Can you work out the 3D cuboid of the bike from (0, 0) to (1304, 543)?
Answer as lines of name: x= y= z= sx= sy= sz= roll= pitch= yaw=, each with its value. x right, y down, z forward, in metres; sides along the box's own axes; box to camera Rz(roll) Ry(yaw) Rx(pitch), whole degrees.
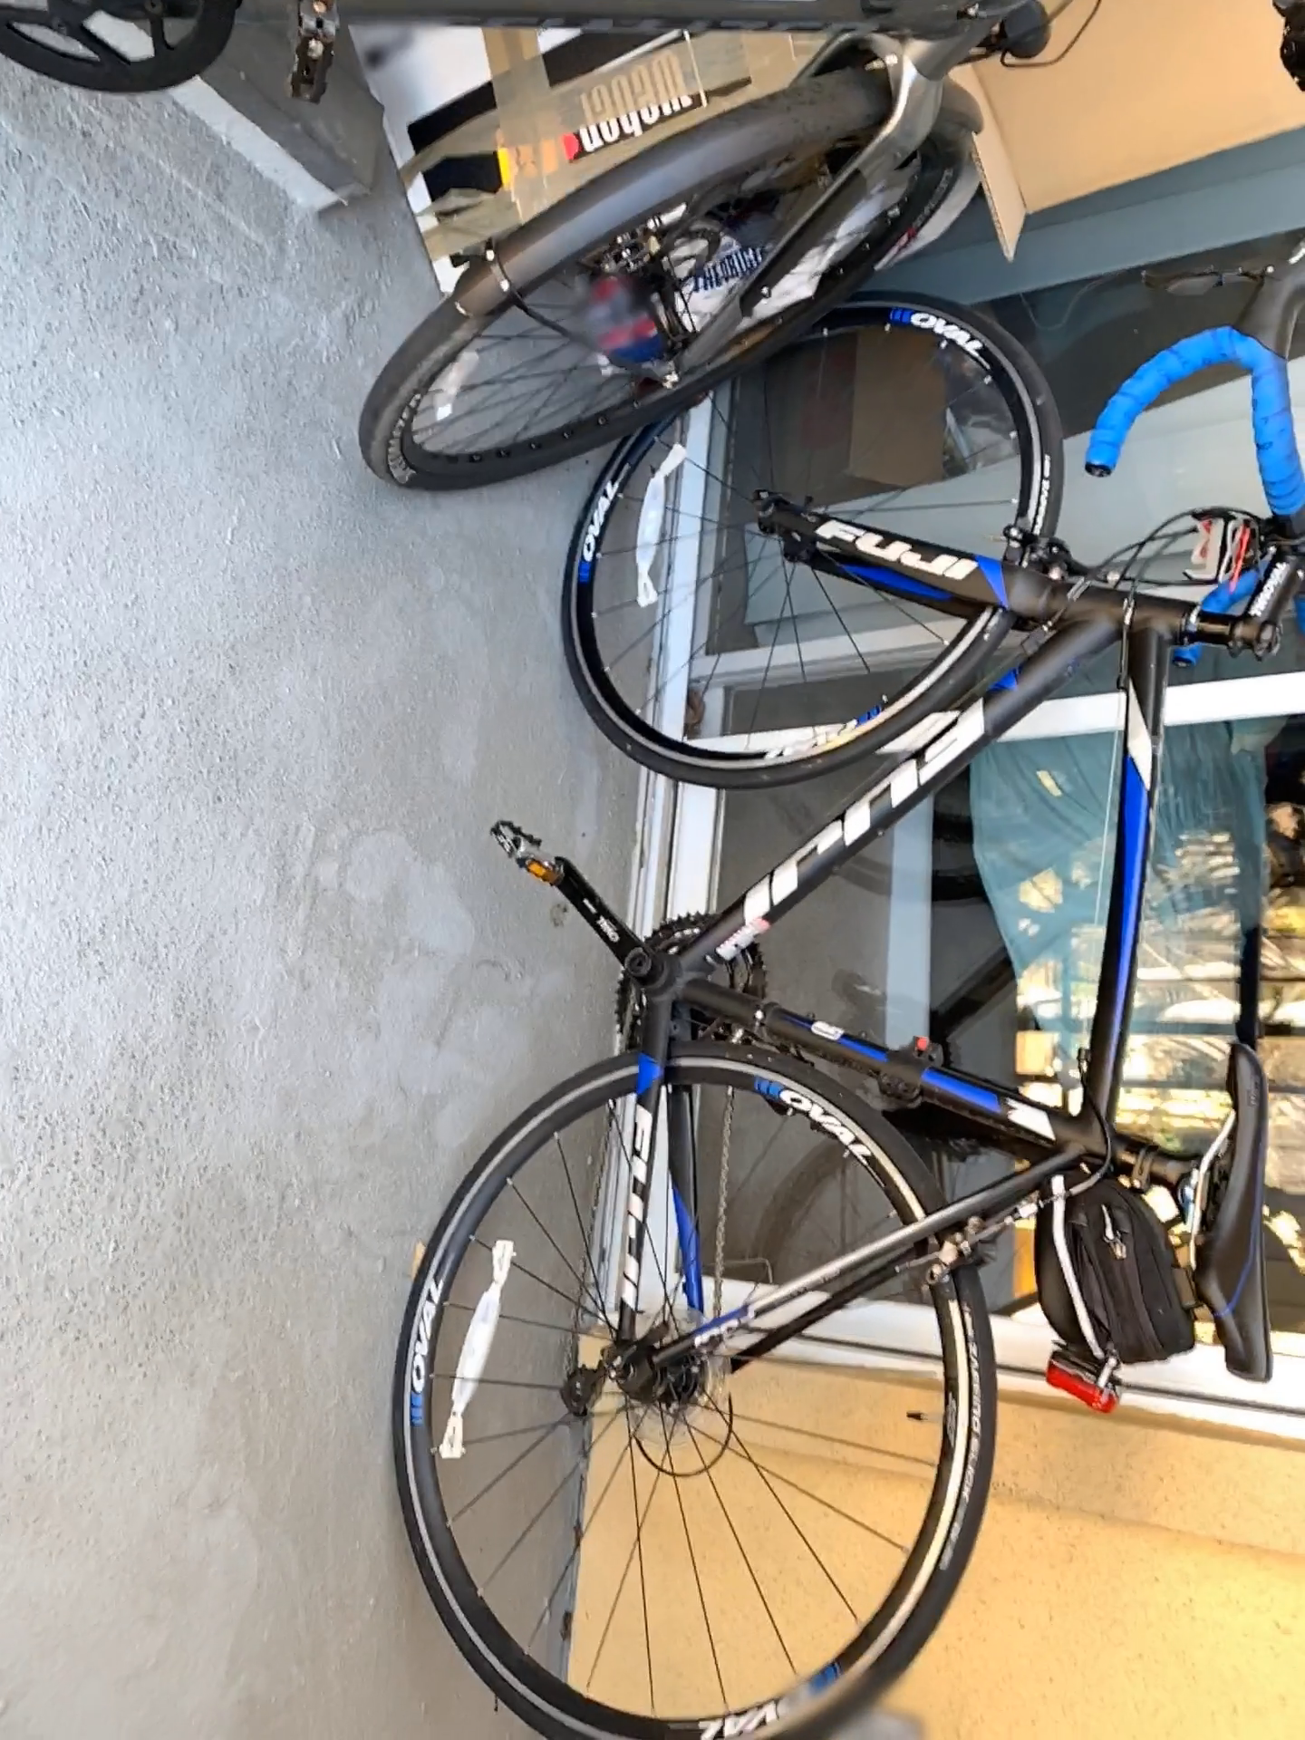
bike: x=-0.106 y=-0.826 z=0.850 sx=1.592 sy=0.971 sz=0.621 roll=11 pitch=78 yaw=-58

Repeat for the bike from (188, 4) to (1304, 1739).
bike: x=0.230 y=0.059 z=1.317 sx=0.365 sy=0.931 sz=1.501 roll=33 pitch=64 yaw=-52
